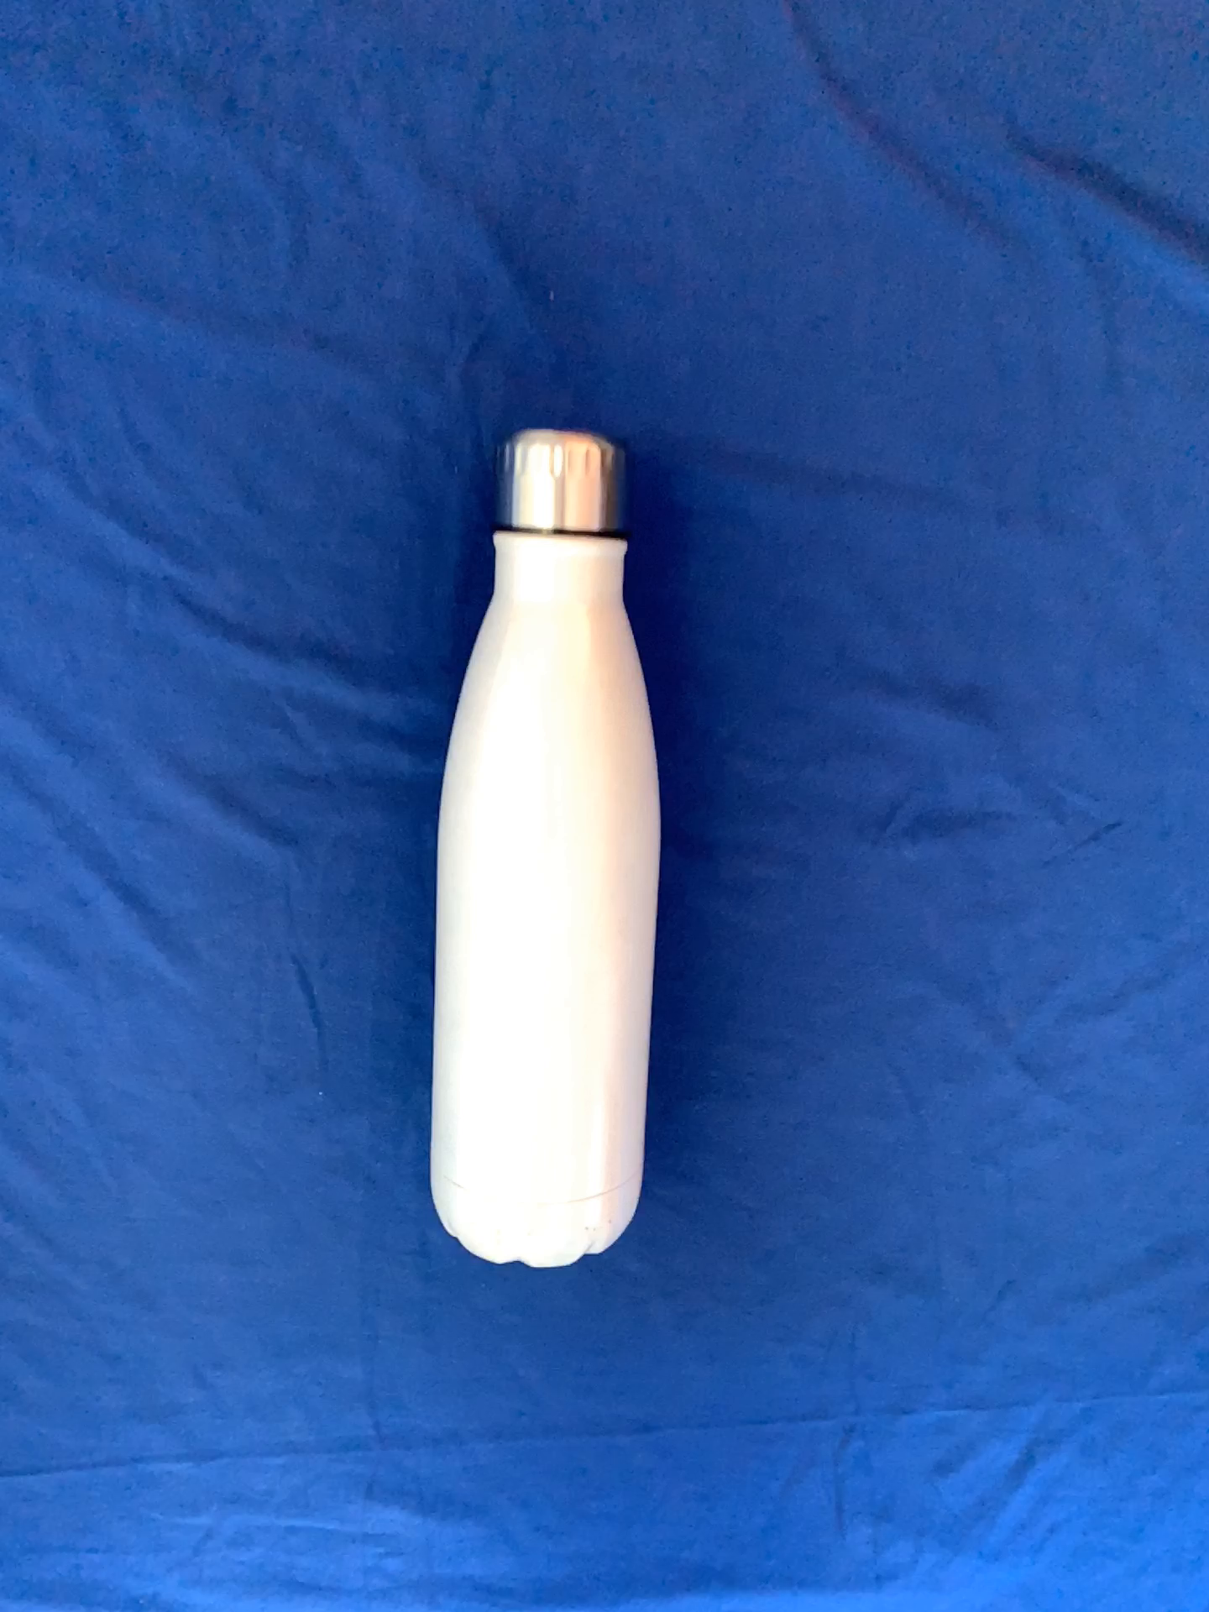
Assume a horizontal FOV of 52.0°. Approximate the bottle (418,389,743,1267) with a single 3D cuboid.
[{"bbox_3d":[-0.012,0.013,0.385,0.080,0.050,0.260,2,103,-6],"label":"bottle"}]
